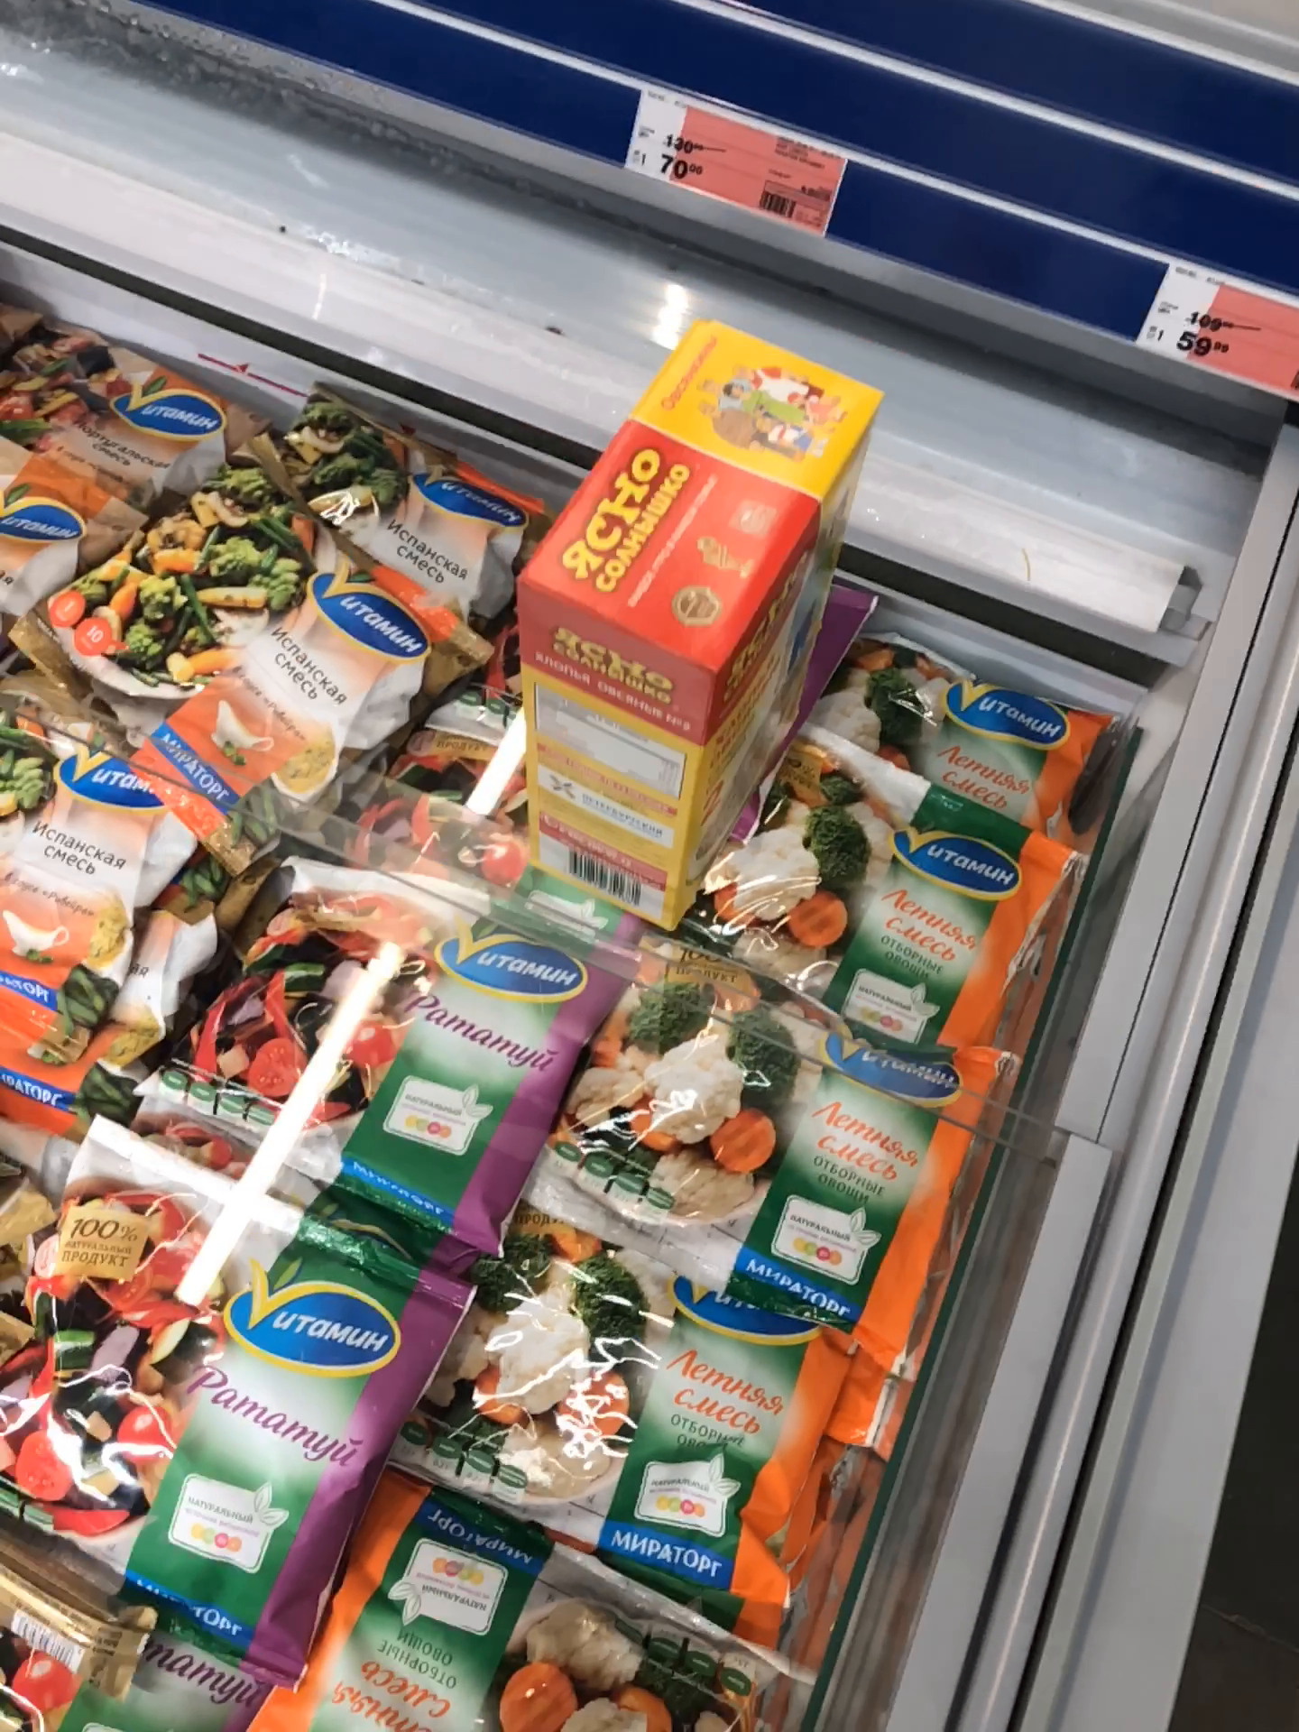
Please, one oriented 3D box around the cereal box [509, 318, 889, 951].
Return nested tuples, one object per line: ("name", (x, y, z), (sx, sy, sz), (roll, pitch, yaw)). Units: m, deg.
("cereal box", (0.010, -0.071, 0.519), (0.070, 0.199, 0.121), (26, 65, 8))
